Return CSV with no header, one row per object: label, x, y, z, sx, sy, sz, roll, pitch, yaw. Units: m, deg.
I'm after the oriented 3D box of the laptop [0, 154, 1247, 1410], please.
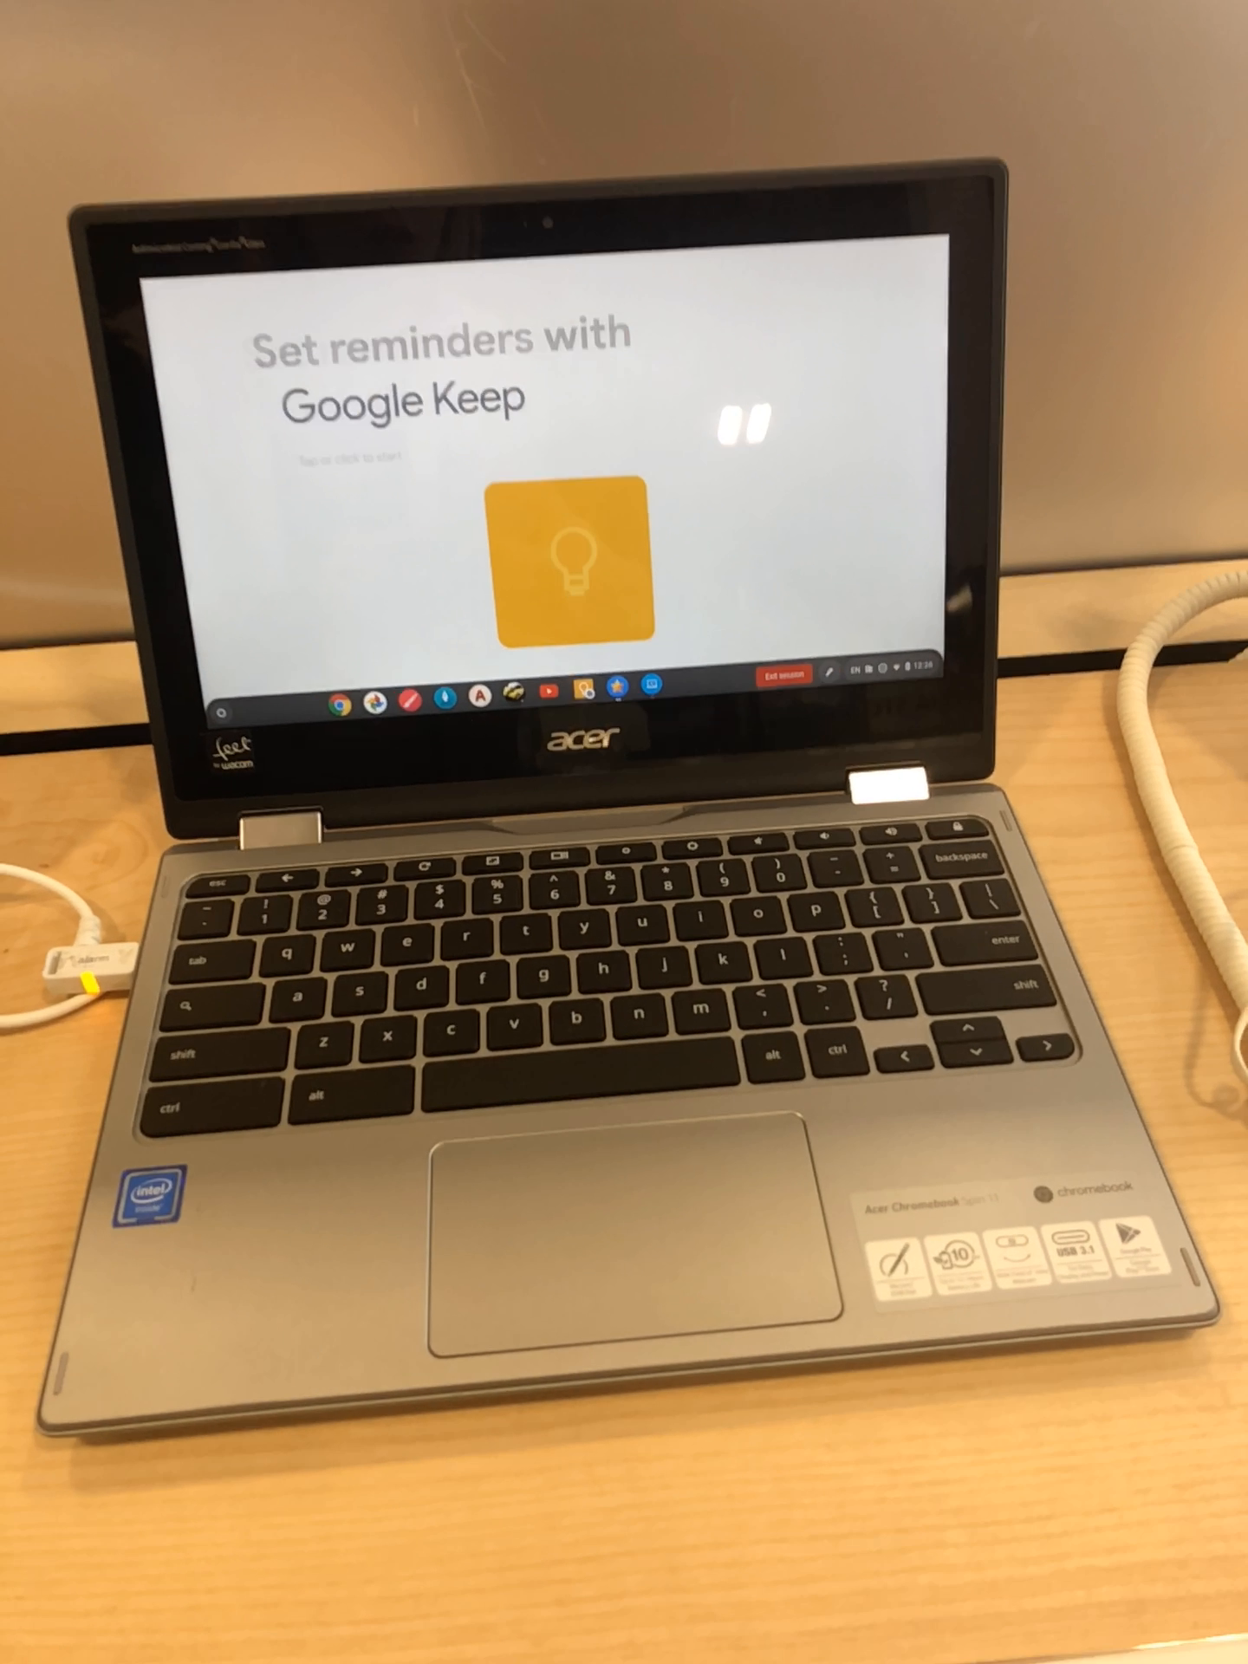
laptop,-0.009,-0.038,0.386,0.287,0.176,0.296,-5,44,-3
